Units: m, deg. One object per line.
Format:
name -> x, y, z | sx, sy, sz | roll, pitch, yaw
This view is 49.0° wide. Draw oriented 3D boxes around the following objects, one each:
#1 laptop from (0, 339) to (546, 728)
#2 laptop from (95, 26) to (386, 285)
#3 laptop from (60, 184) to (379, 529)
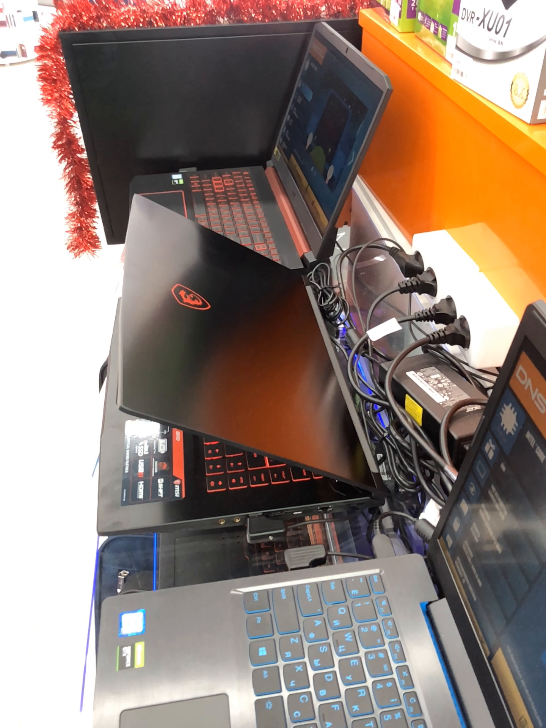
laptop -> 0.025, 0.170, 0.247 | 0.278, 0.228, 0.327 | -3, 37, -2
laptop -> -0.057, -0.327, 0.882 | 0.329, 0.225, 0.367 | -7, 40, -7
laptop -> -0.061, -0.037, 0.598 | 0.225, 0.134, 0.349 | -7, 40, -6
